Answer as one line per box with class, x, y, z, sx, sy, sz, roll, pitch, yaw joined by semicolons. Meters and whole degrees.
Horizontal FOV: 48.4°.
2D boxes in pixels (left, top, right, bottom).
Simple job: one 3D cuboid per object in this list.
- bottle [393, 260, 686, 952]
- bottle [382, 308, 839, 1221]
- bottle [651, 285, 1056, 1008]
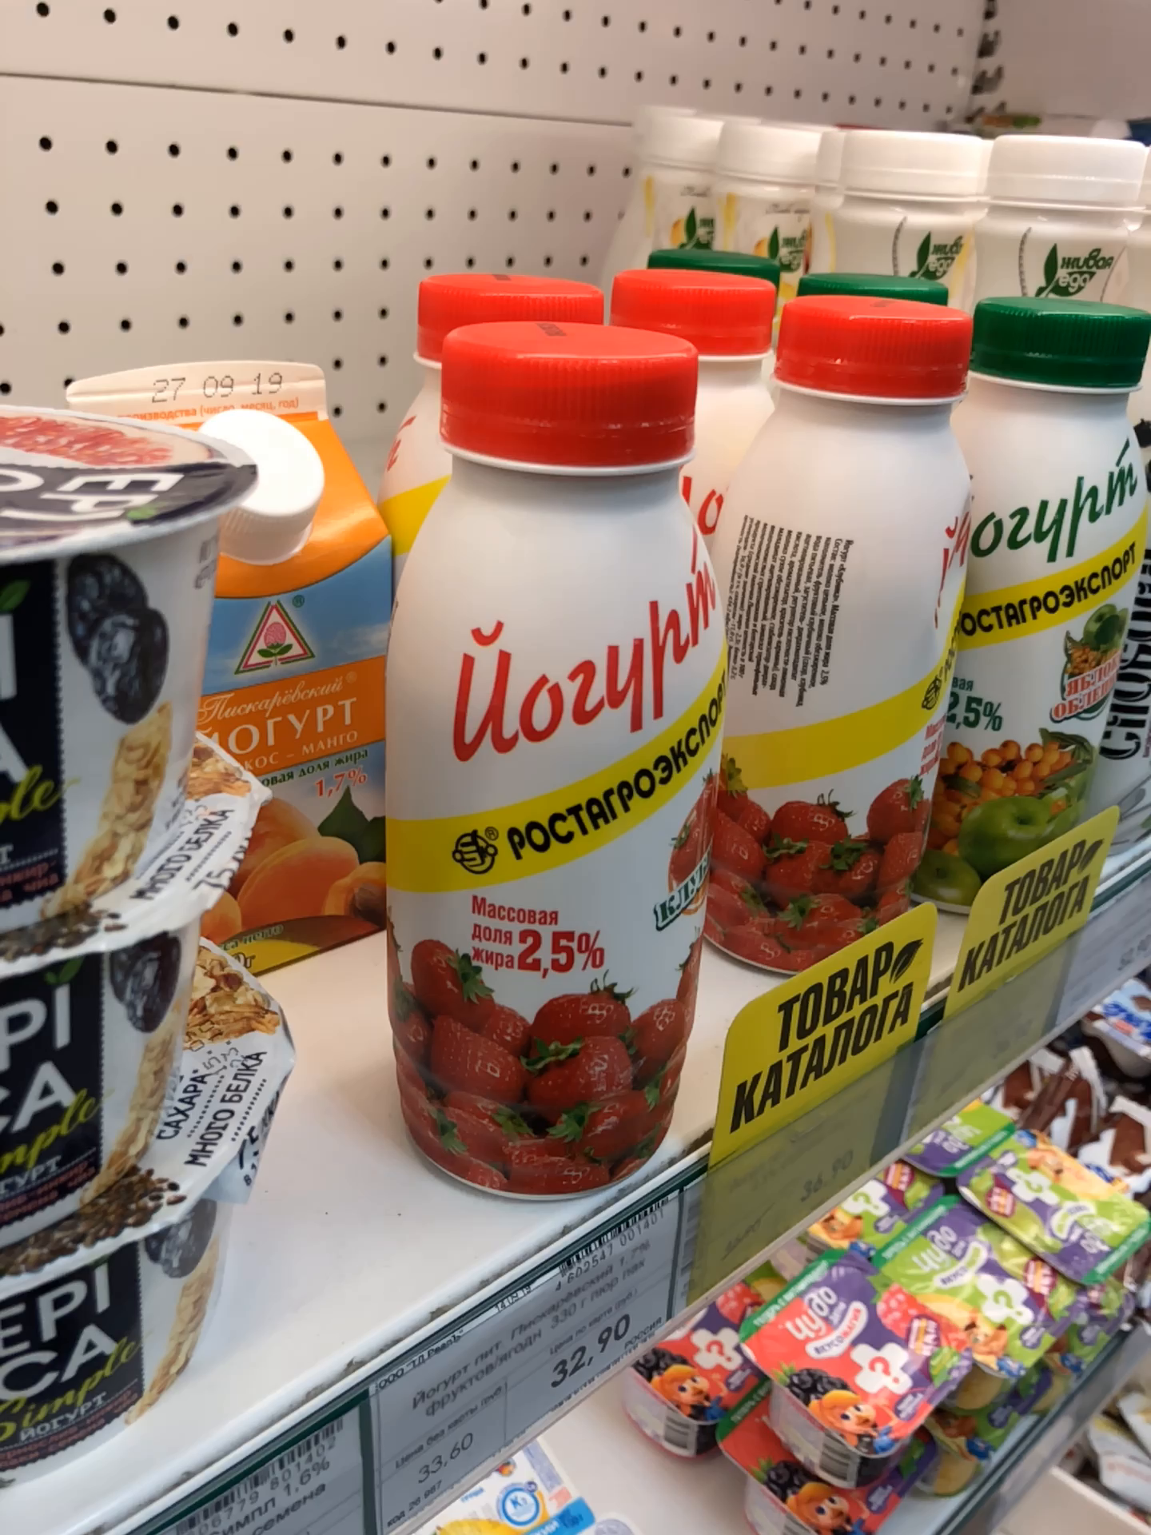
bottle;-0.012;-0.034;0.295;0.055;0.146;0.053;3;26;-2
bottle;-0.003;0.001;0.226;0.058;0.146;0.057;3;26;-2
bottle;0.061;-0.028;0.295;0.056;0.146;0.058;3;26;-2
